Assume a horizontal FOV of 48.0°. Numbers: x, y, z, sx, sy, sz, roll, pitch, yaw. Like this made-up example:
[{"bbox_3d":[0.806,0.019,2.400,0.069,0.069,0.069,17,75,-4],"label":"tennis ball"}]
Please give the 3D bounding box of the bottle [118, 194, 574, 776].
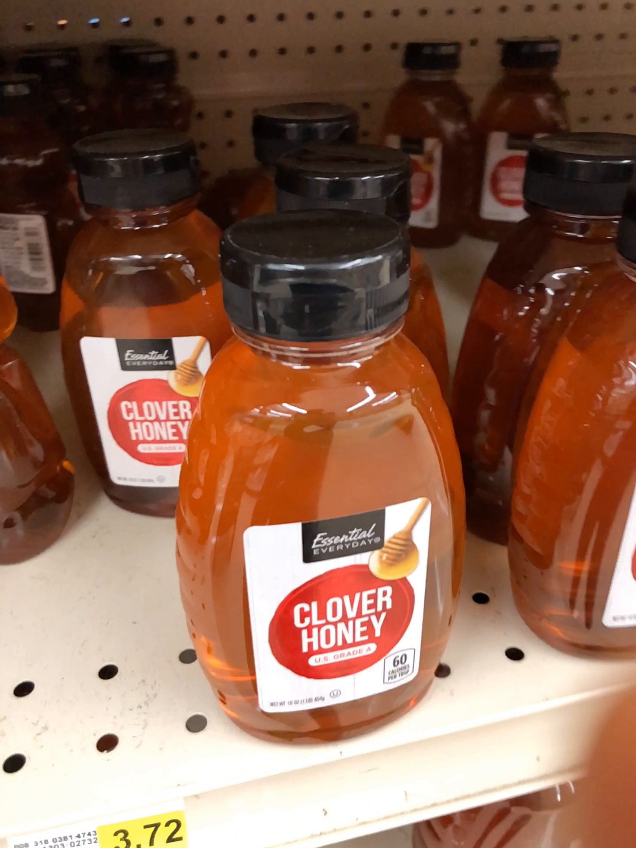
[{"bbox_3d":[0.002,0.017,0.187,0.083,0.130,0.060,-9,34,-12],"label":"bottle"}]
